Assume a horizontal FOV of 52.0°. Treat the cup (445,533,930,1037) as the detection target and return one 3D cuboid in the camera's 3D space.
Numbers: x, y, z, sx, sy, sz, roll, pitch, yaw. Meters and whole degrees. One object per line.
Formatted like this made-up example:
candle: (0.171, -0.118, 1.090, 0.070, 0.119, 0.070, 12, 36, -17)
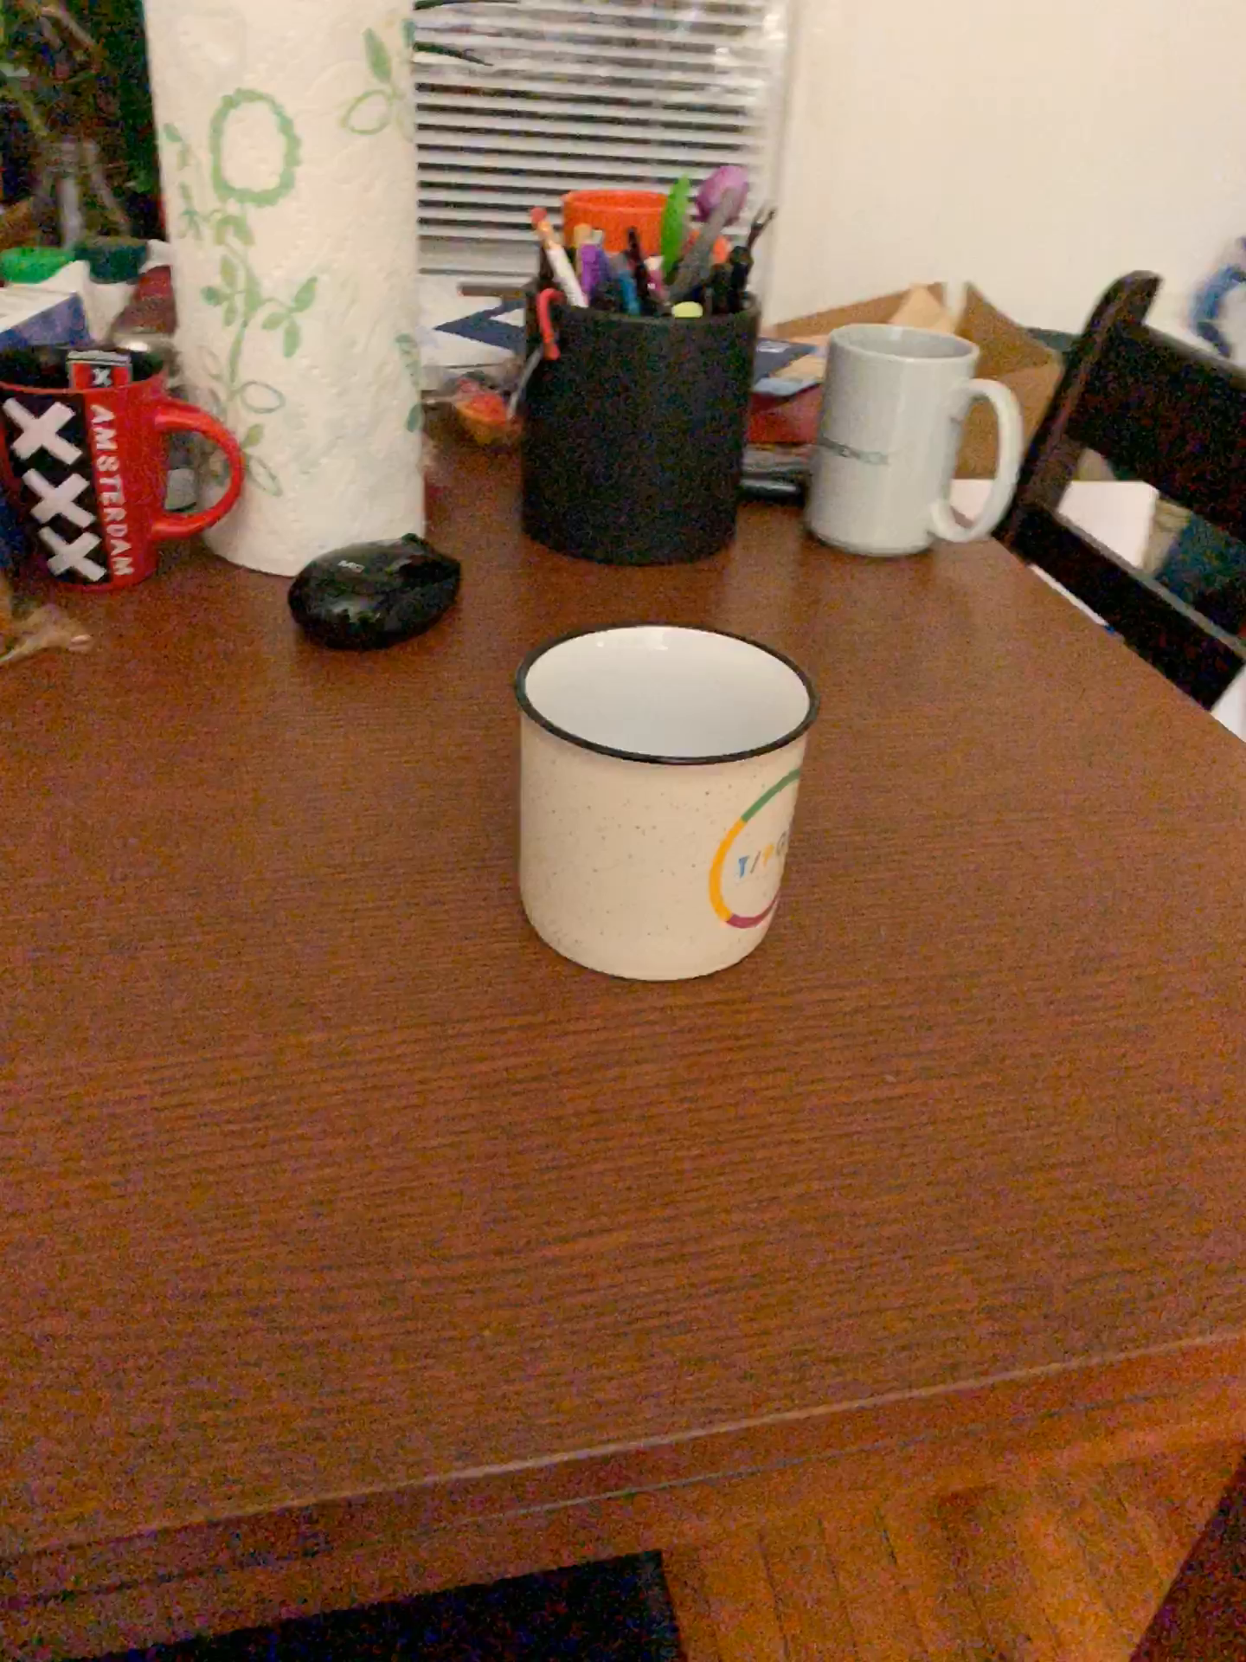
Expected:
cup: (0.025, -0.026, 0.454, 0.100, 0.099, 0.151, 22, 37, 25)
